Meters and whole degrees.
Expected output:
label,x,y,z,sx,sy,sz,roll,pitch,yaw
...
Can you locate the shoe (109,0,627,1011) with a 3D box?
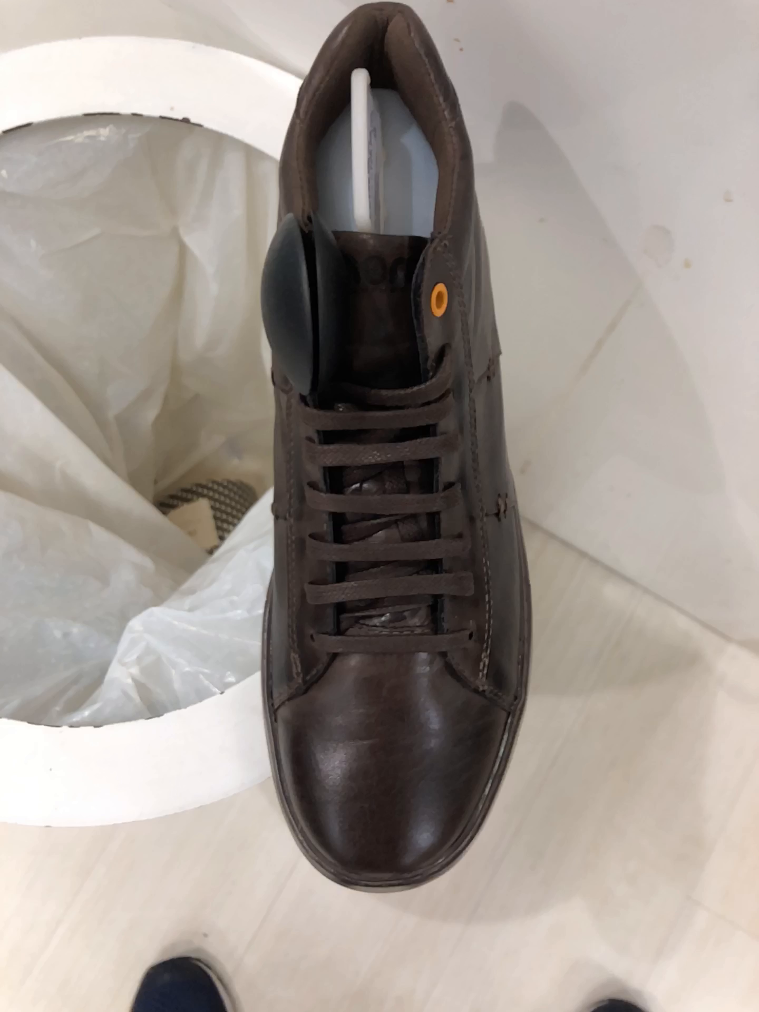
label,x,y,z,sx,sy,sz,roll,pitch,yaw
shoe,0.004,-0.006,0.288,0.120,0.140,0.270,2,80,1
